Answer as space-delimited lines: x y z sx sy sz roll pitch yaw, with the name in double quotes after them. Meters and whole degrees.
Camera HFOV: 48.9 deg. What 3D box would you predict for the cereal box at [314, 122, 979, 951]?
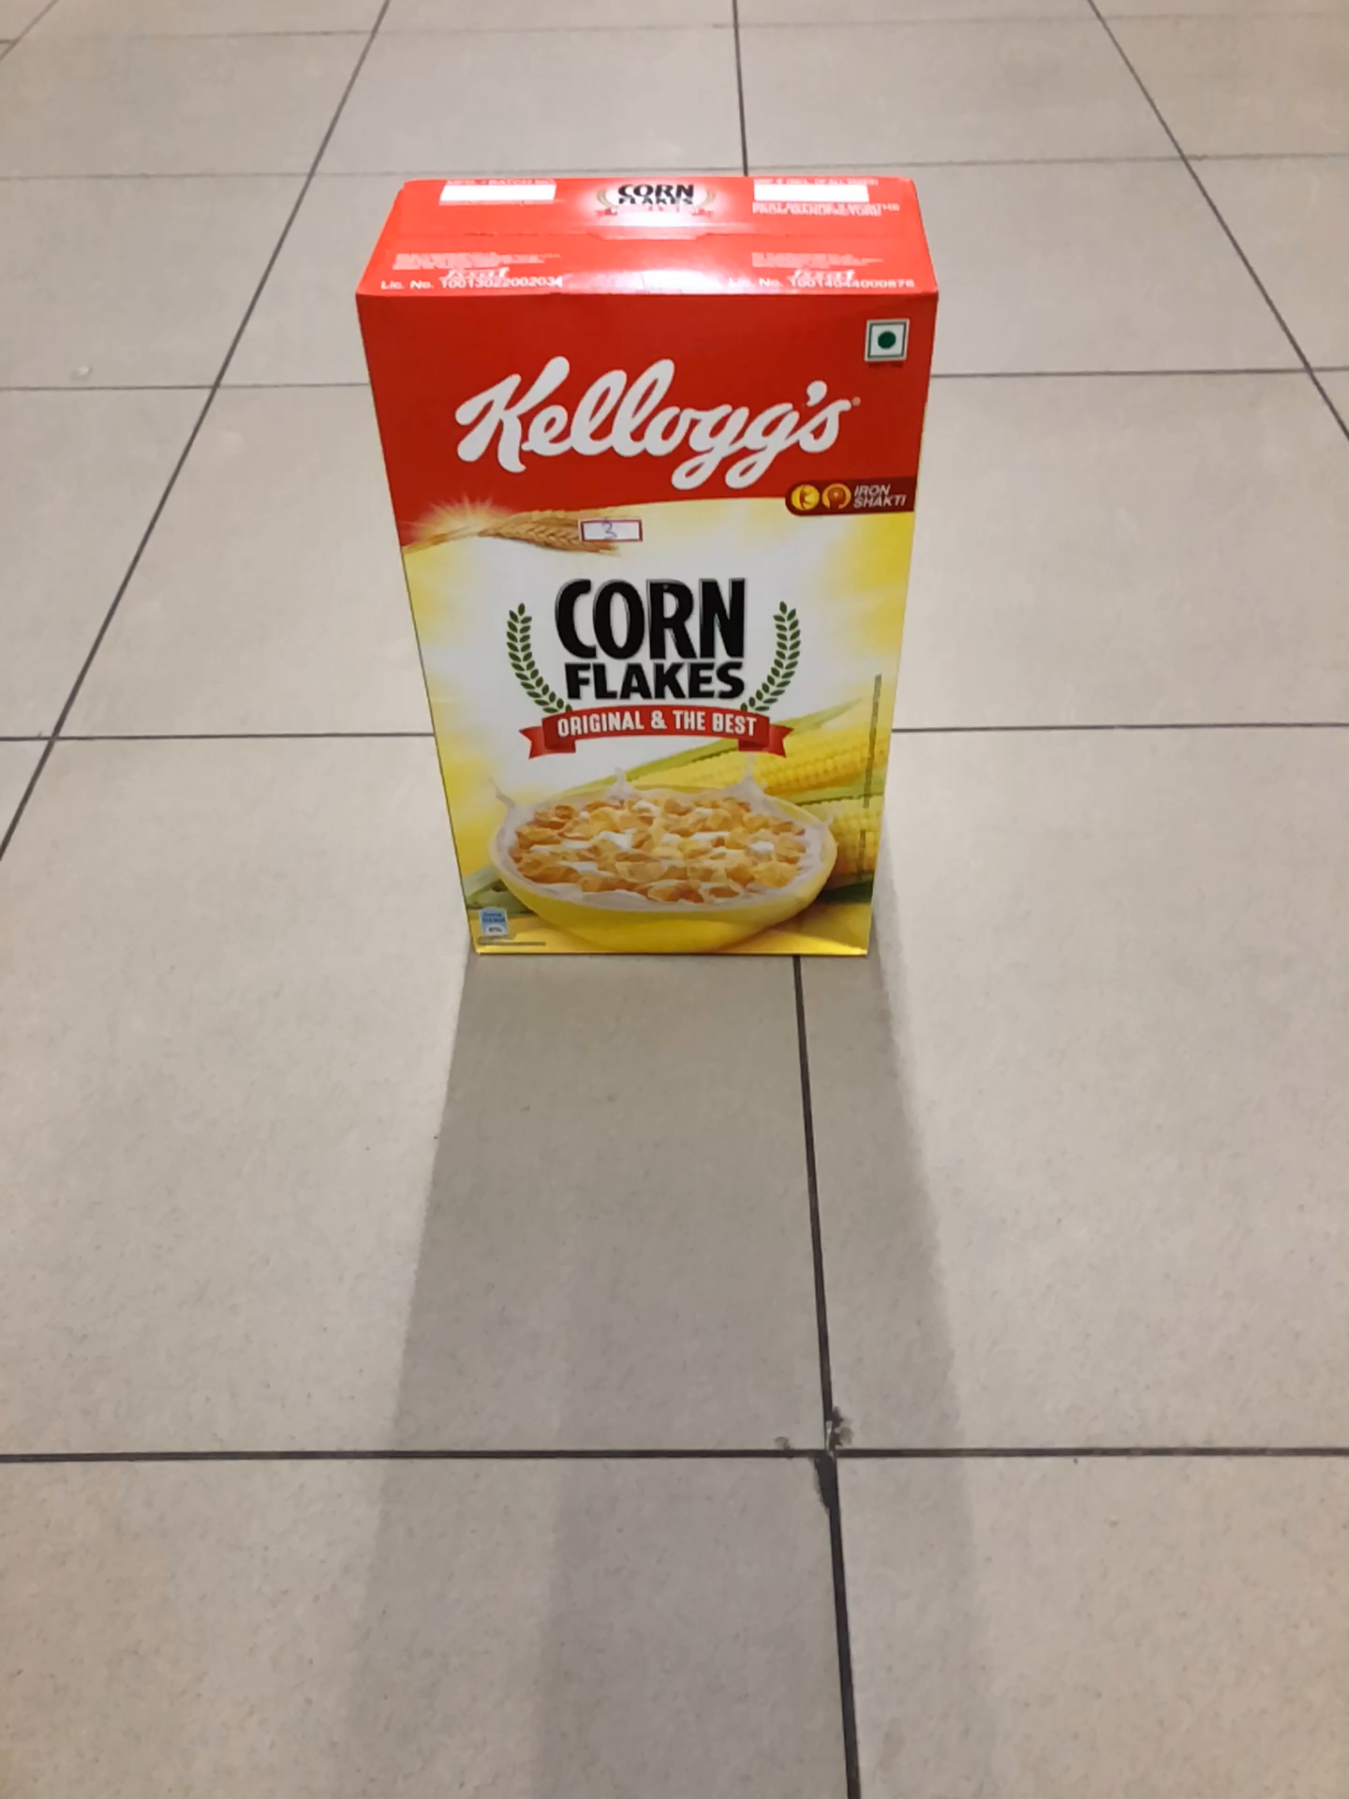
-0.005 -0.123 0.595 0.200 0.318 0.101 0 46 1 "cereal box"
